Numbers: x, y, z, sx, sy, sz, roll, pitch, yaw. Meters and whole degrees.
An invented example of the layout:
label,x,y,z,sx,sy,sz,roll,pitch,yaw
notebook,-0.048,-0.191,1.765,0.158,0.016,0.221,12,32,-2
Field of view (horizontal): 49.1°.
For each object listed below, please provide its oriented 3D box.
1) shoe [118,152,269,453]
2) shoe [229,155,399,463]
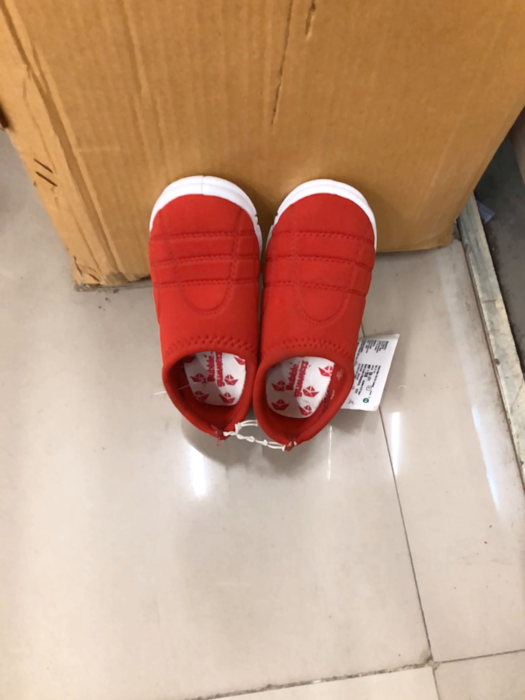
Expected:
label,x,y,z,sx,sy,sz,roll,pitch,yaw
shoe,-0.042,-0.031,0.428,0.084,0.204,0.082,-3,31,-2
shoe,0.034,-0.028,0.438,0.084,0.207,0.081,11,29,4
